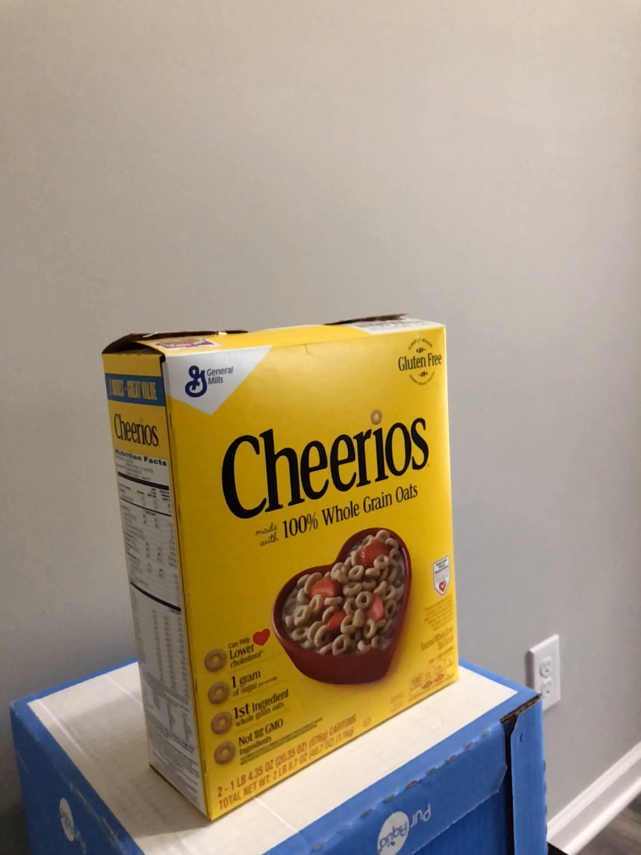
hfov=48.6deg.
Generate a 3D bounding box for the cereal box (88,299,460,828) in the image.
[{"bbox_3d":[-0.018,0.070,0.522,0.240,0.309,0.090,-11,11,-38],"label":"cereal box"}]
